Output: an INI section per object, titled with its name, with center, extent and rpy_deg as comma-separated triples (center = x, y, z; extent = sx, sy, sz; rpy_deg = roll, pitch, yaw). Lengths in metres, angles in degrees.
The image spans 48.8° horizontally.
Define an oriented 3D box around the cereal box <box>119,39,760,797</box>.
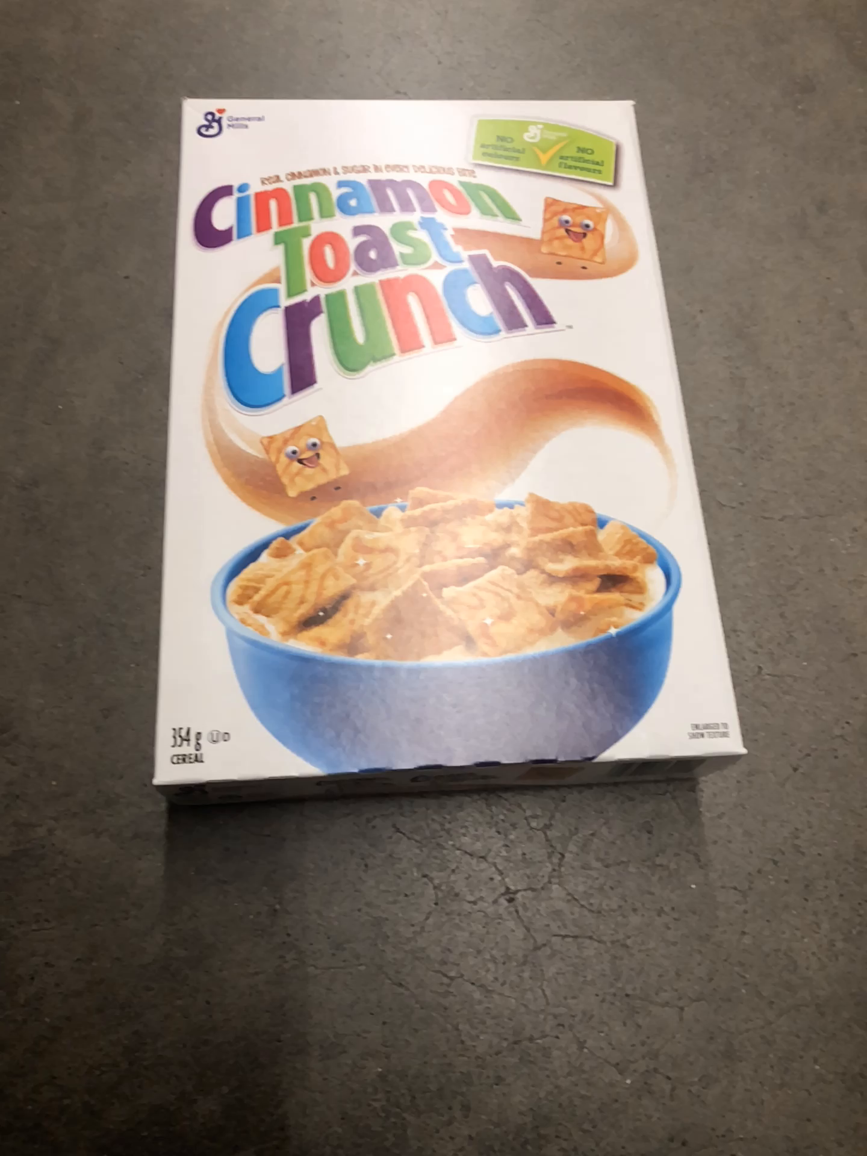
[cereal box]
center = -0.007, -0.072, 0.372
extent = 0.200, 0.060, 0.291
rpy_deg = -3, 71, -3
